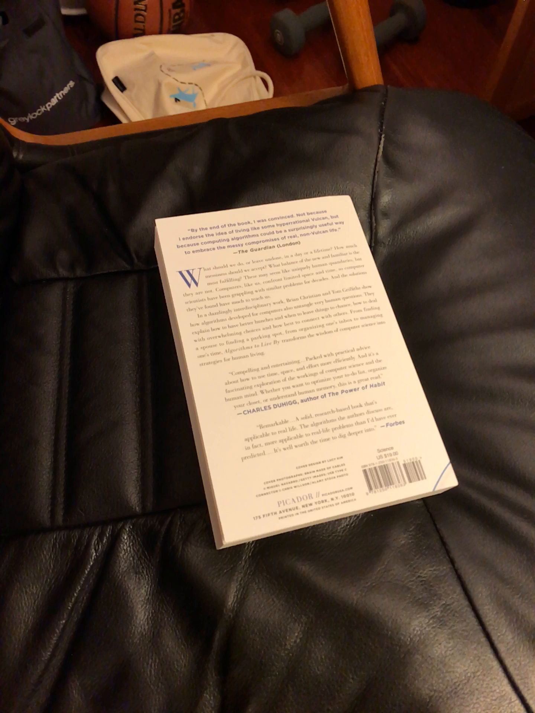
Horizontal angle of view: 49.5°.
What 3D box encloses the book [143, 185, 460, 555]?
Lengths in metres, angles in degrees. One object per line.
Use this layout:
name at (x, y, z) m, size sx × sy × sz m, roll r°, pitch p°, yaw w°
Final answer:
book at (0.013, -0.008, 0.412) m, size 0.160 × 0.020 × 0.251 m, roll -11°, pitch 66°, yaw -11°
